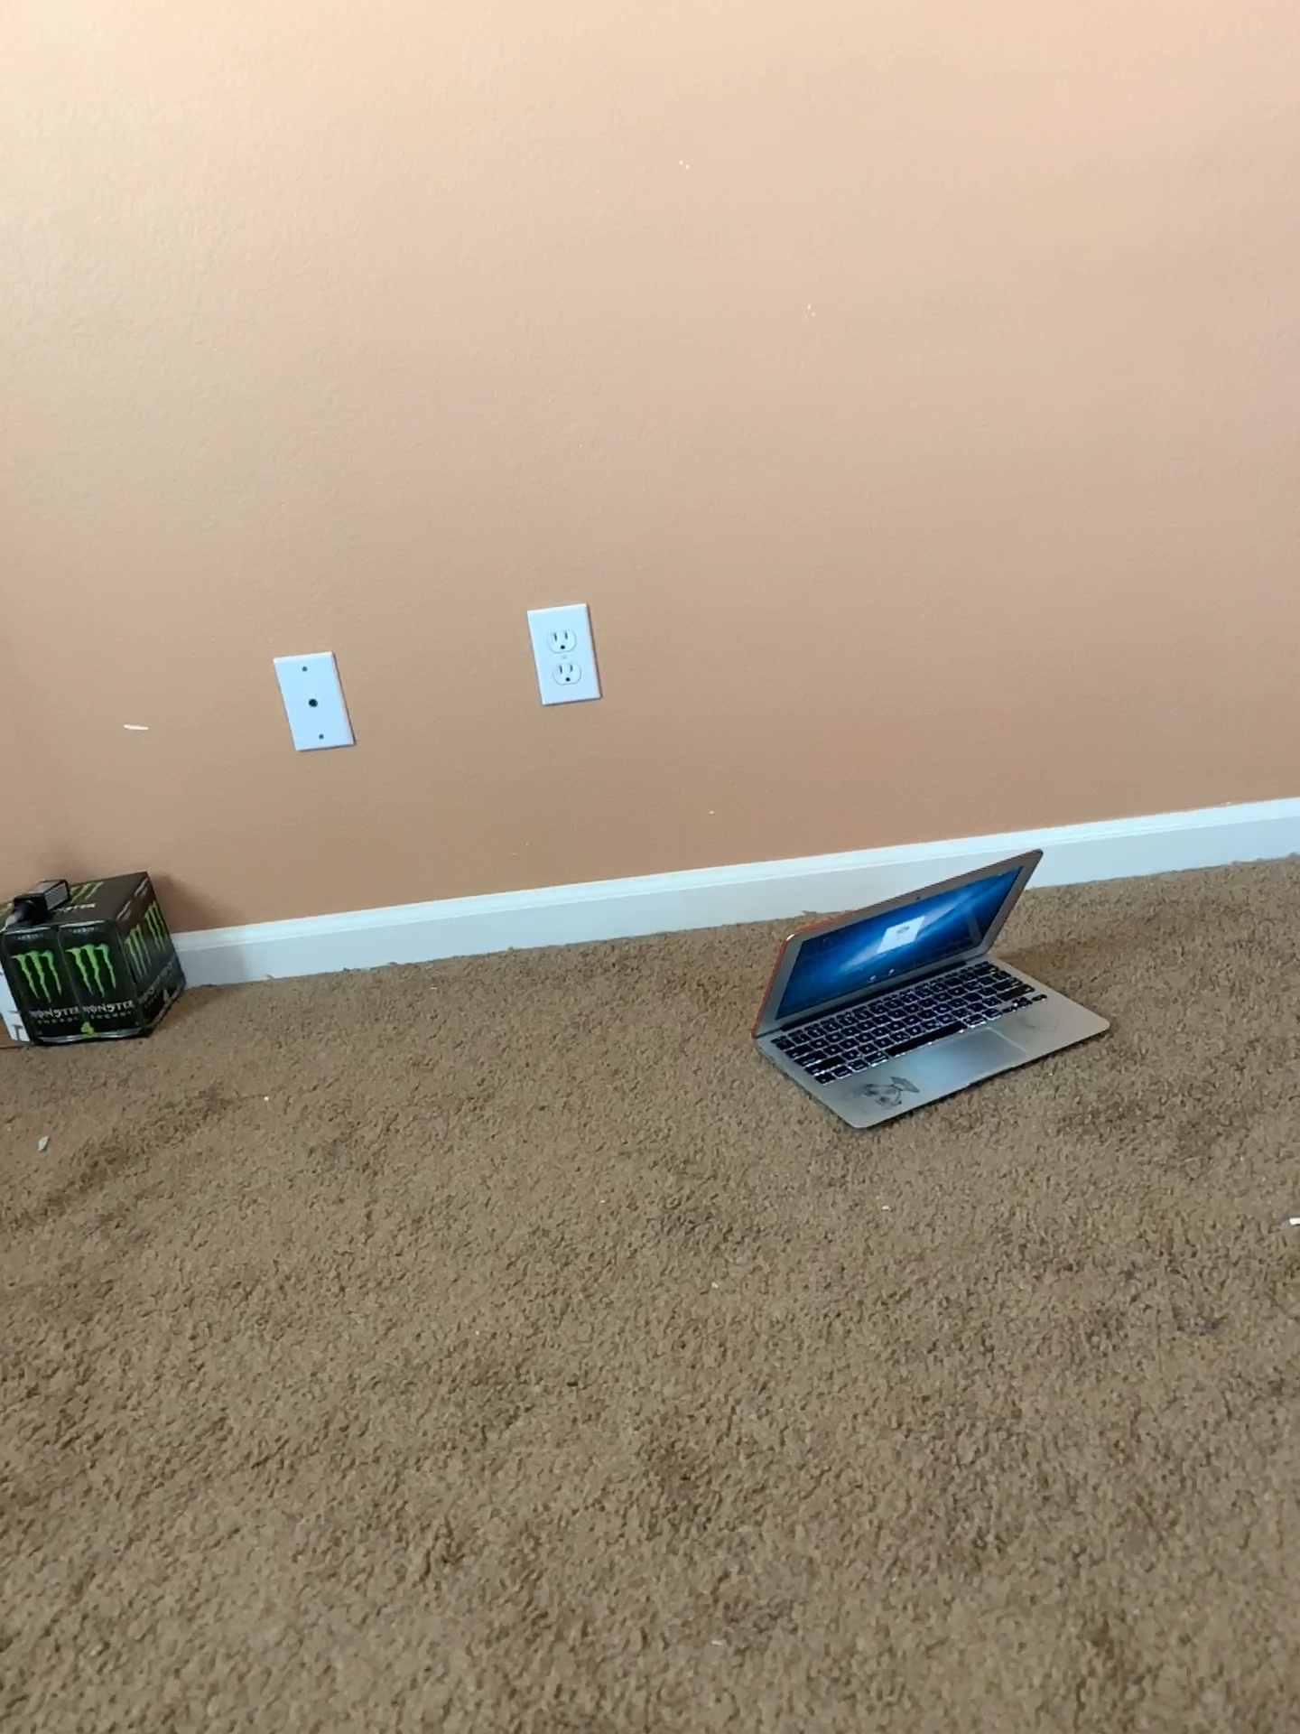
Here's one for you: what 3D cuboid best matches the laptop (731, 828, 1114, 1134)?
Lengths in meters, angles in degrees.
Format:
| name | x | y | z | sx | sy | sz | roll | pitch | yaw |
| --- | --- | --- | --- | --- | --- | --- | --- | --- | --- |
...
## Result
| name | x | y | z | sx | sy | sz | roll | pitch | yaw |
| --- | --- | --- | --- | --- | --- | --- | --- | --- | --- |
| laptop | 0.263 | 0.098 | 1.280 | 0.299 | 0.148 | 0.194 | -17 | 24 | -21 |
